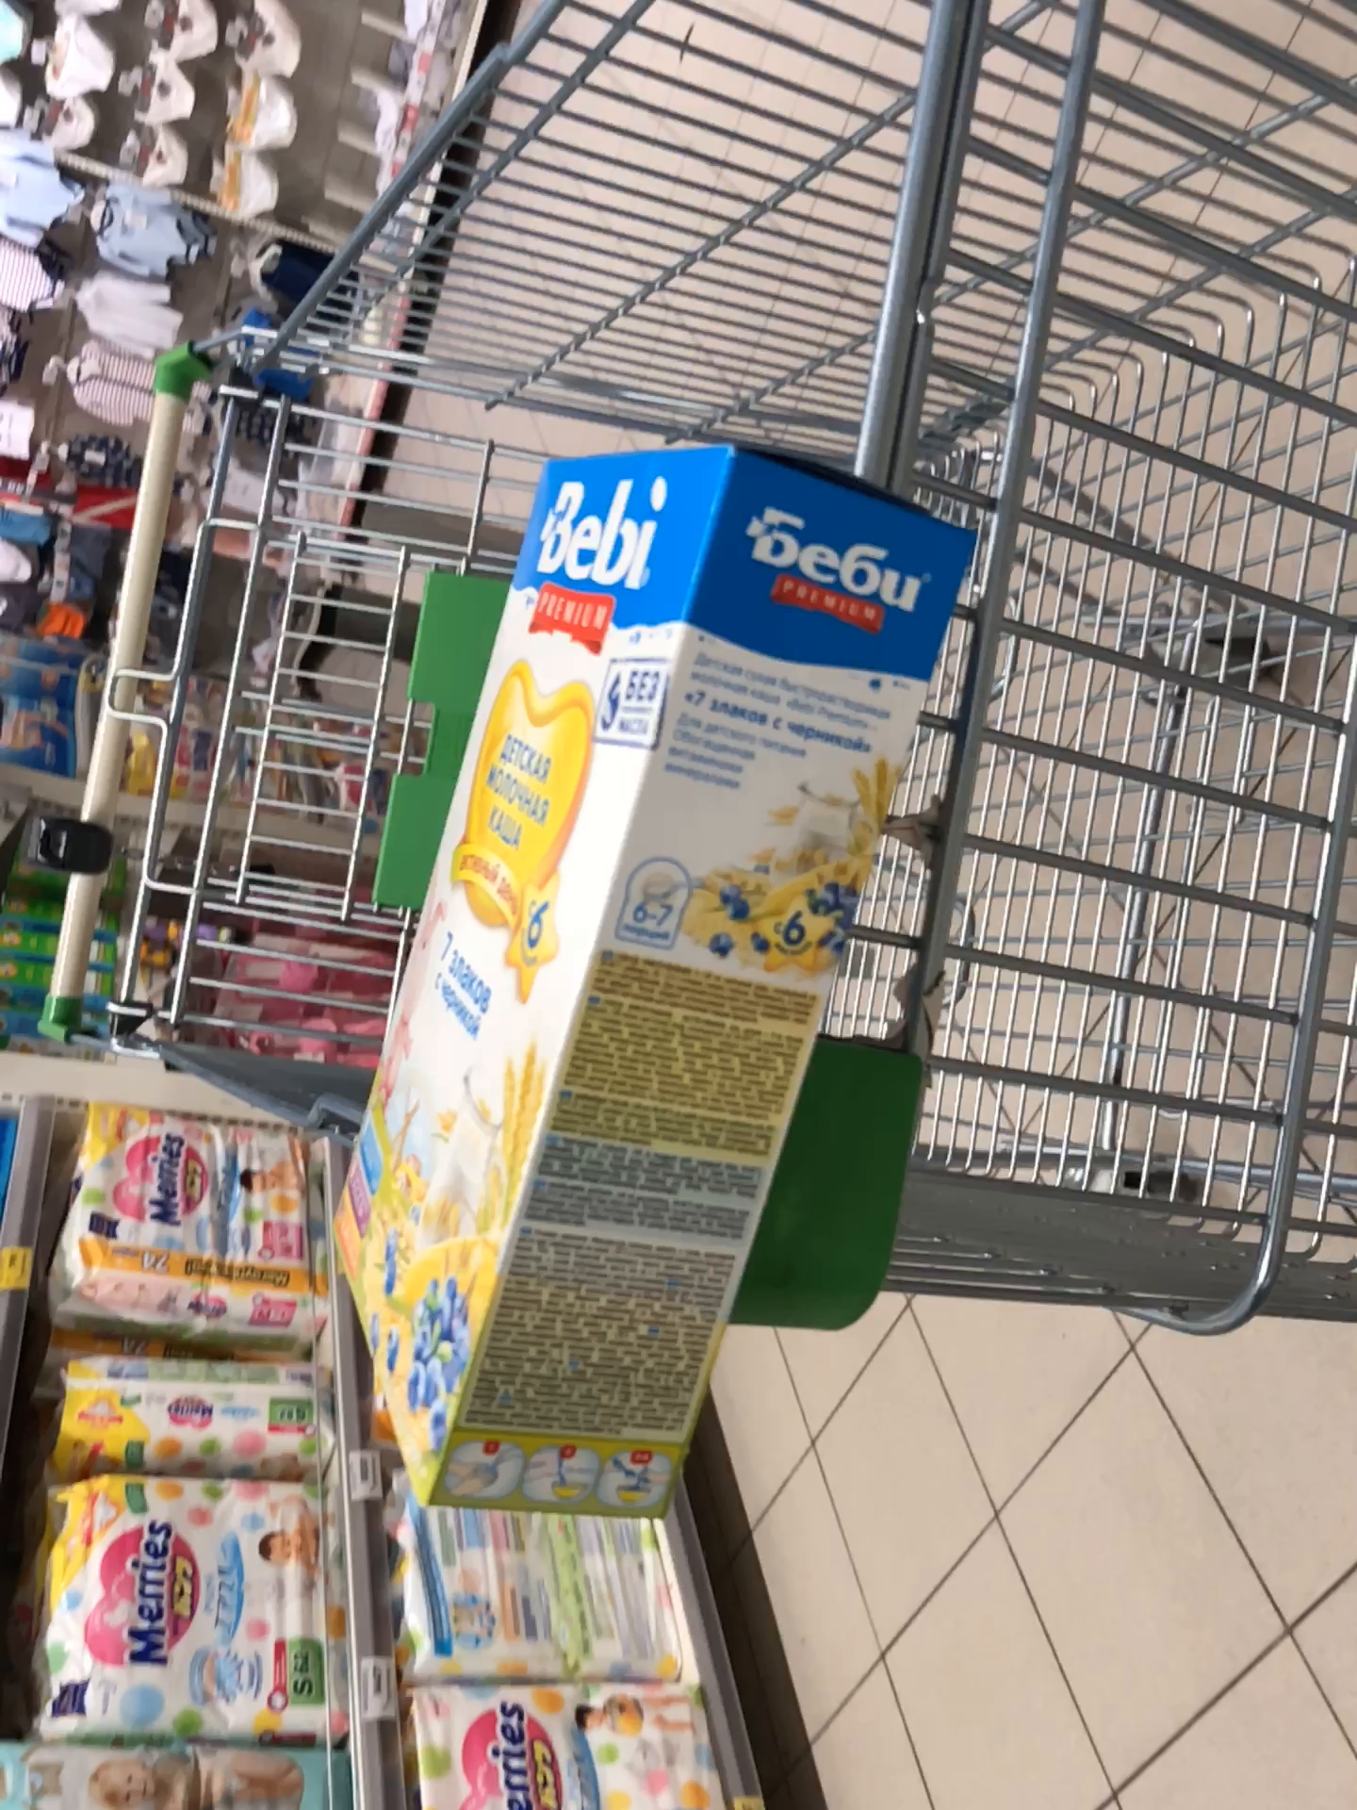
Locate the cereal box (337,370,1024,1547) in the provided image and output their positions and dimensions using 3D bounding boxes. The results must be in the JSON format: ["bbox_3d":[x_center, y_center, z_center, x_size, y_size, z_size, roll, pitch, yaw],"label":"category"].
[{"bbox_3d":[-0.016,0.002,0.326,0.141,0.050,0.210,36,111,65],"label":"cereal box"}]
